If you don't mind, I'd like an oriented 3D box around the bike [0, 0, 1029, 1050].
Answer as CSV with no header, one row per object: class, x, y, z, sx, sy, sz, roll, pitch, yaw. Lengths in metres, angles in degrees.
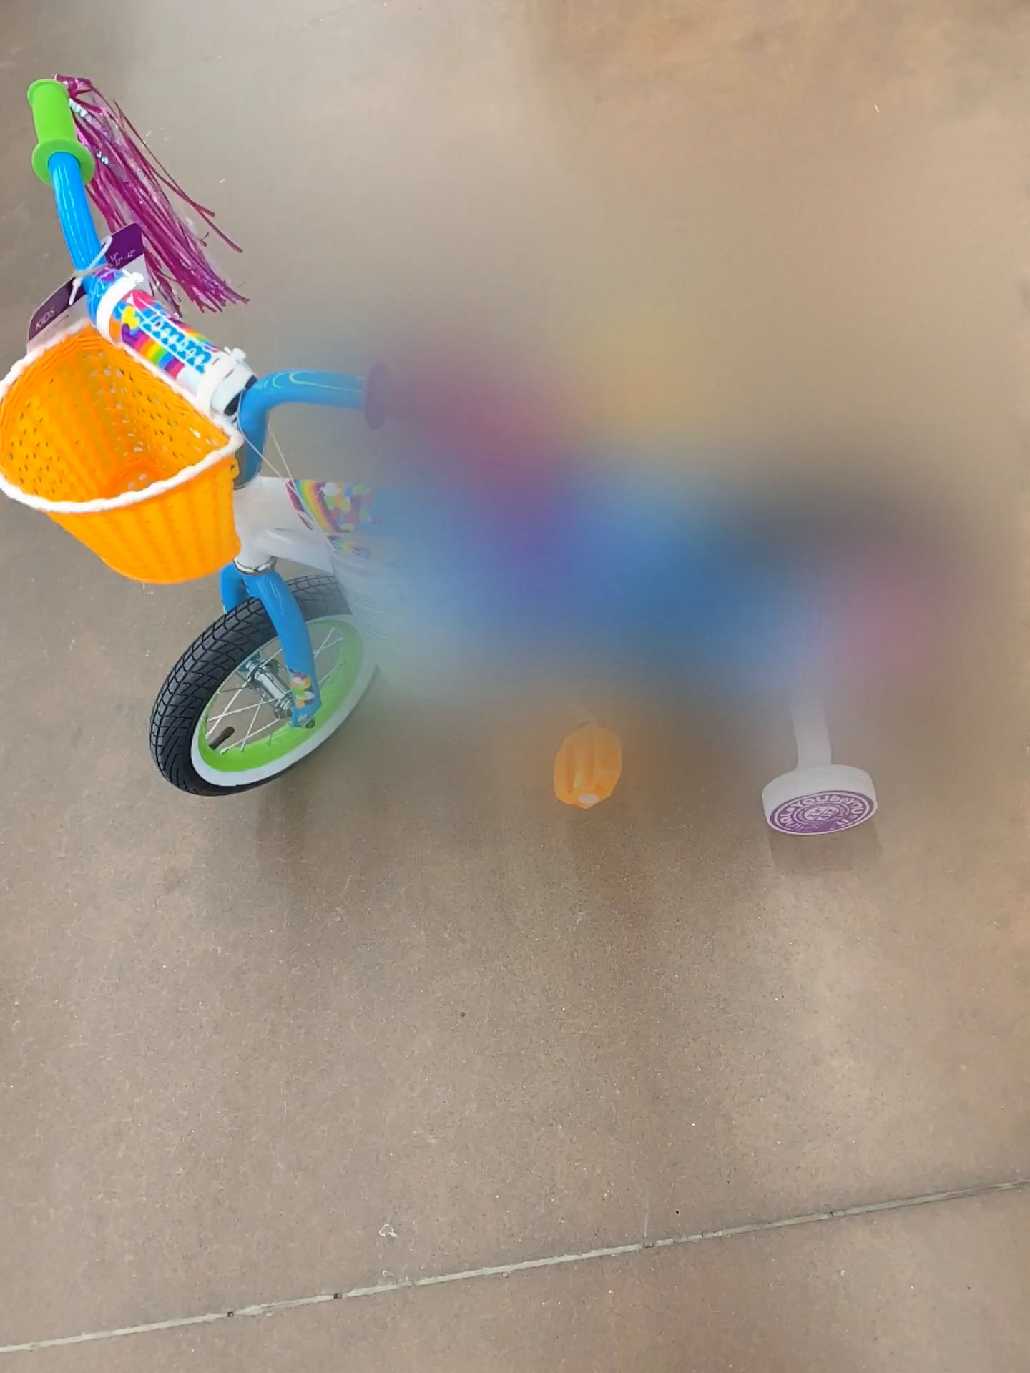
bike,-0.026,-0.104,0.929,0.833,0.667,0.522,-13,55,12
